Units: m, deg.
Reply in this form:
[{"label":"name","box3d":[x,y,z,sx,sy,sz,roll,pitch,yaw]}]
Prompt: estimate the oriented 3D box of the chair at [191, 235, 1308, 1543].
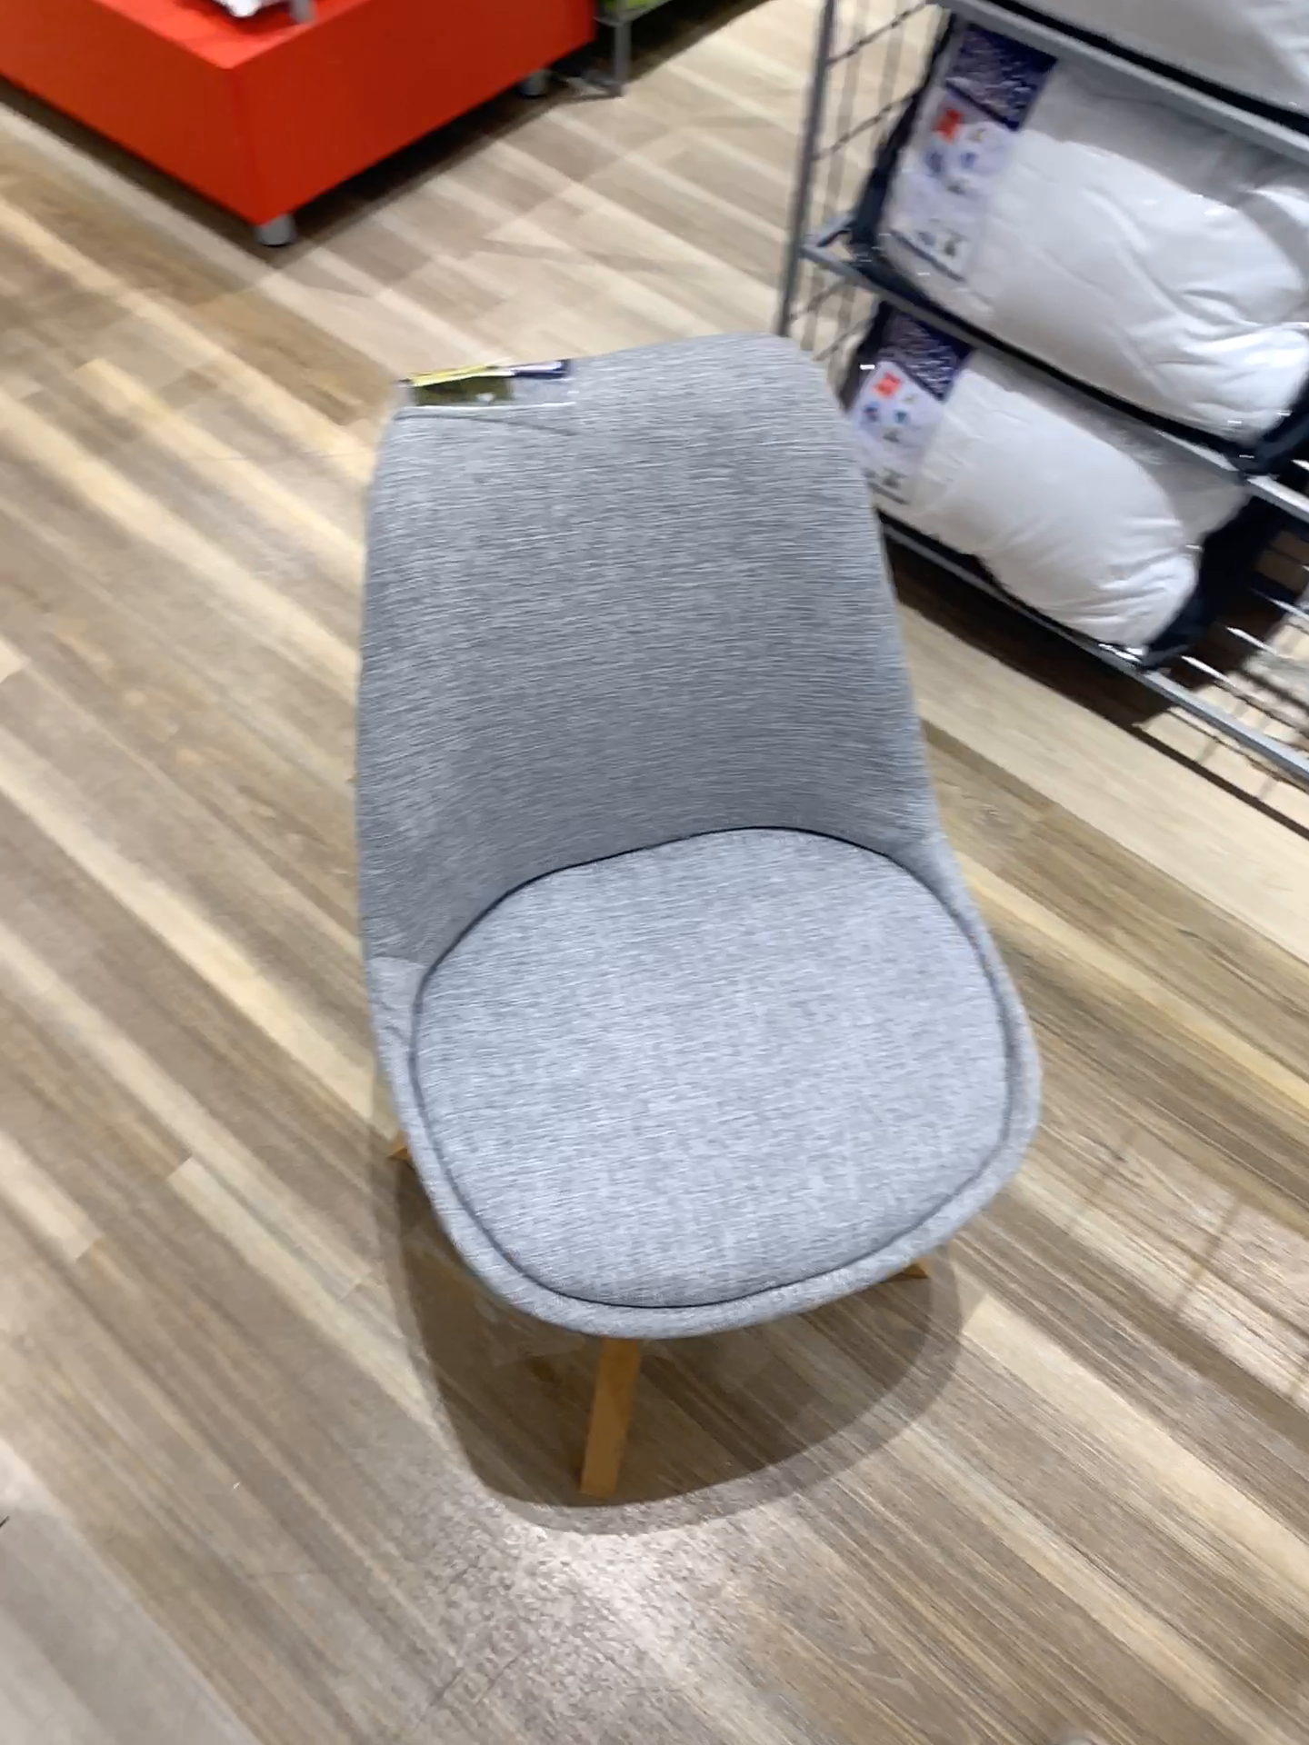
[{"label":"chair","box3d":[0.050,0.101,1.015,0.513,0.857,0.517,-14,59,-12]}]
